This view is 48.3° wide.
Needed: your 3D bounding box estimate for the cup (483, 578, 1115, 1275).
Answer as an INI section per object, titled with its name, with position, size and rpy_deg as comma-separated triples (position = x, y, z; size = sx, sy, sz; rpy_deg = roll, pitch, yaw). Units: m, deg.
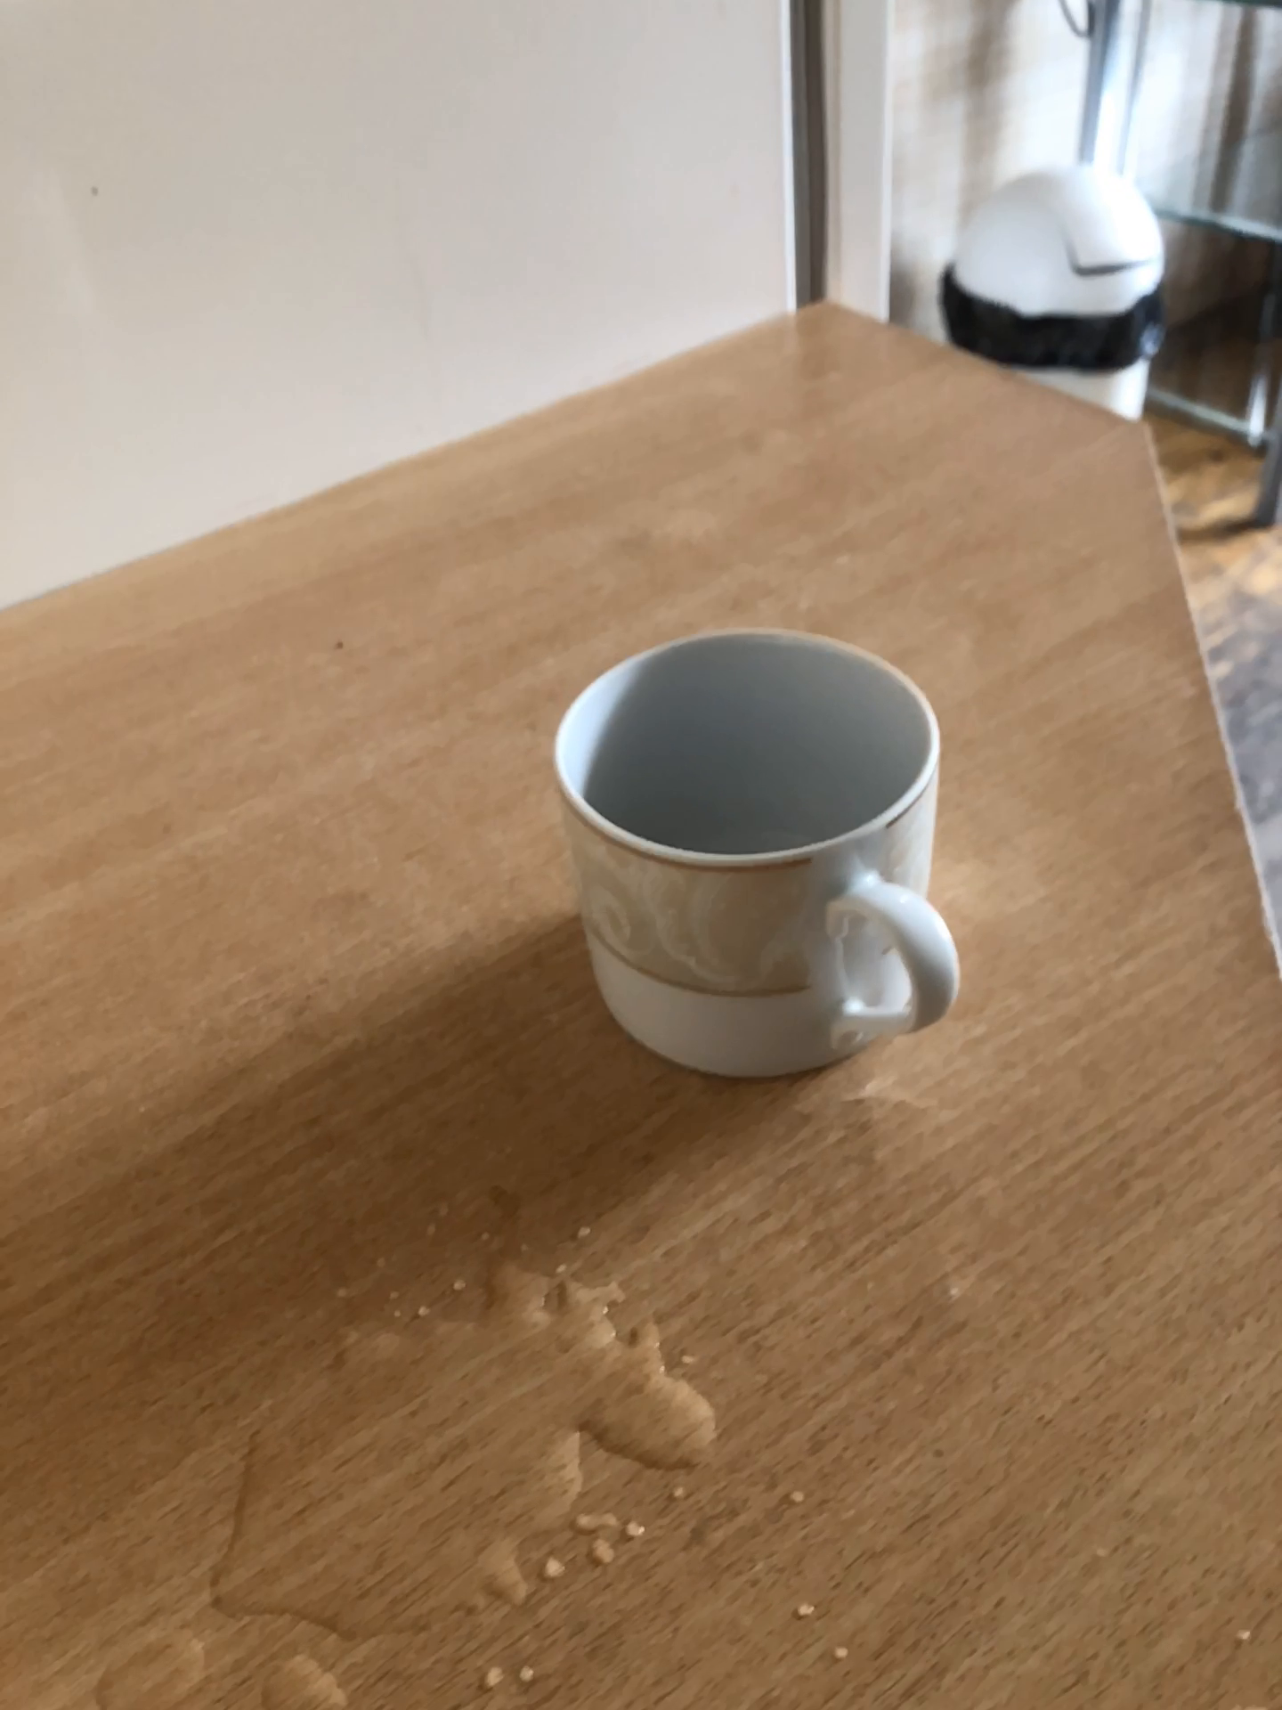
[cup]
position = 0.026, 0.009, 0.288
size = 0.074, 0.069, 0.105
rpy_deg = -20, 43, -15
